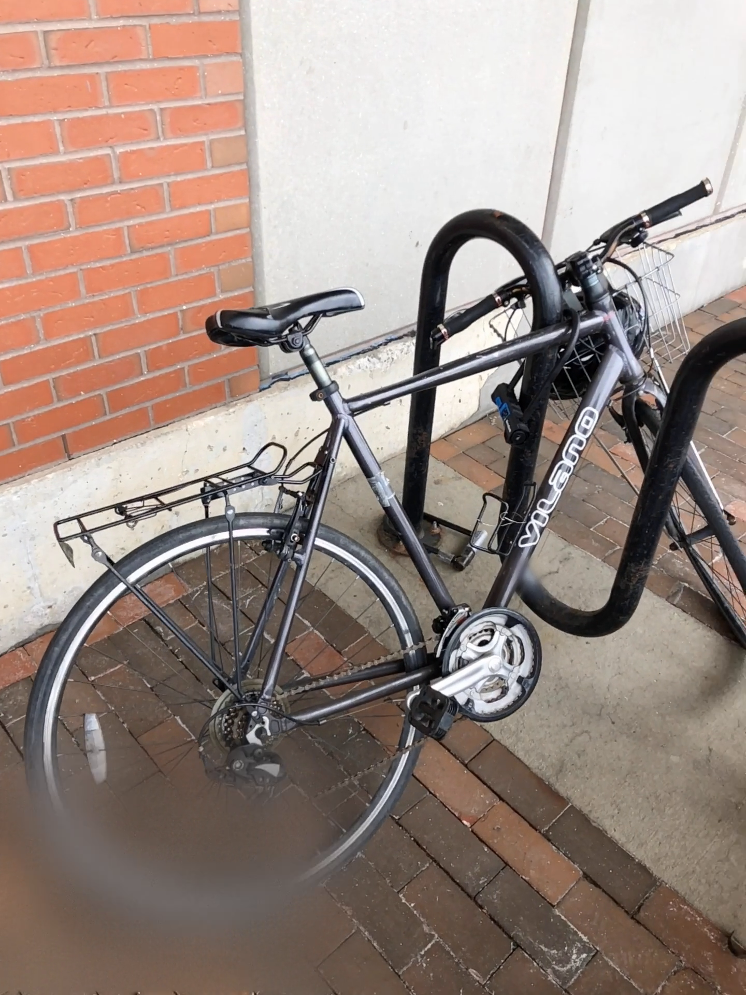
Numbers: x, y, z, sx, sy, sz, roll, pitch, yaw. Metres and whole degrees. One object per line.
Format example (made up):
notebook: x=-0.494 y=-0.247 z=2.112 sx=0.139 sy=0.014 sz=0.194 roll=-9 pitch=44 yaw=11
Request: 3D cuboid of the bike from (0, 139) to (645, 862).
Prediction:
bike: x=-0.178 y=-0.195 z=1.697 sx=1.420 sy=0.734 sz=0.745 roll=-26 pitch=45 yaw=-35
